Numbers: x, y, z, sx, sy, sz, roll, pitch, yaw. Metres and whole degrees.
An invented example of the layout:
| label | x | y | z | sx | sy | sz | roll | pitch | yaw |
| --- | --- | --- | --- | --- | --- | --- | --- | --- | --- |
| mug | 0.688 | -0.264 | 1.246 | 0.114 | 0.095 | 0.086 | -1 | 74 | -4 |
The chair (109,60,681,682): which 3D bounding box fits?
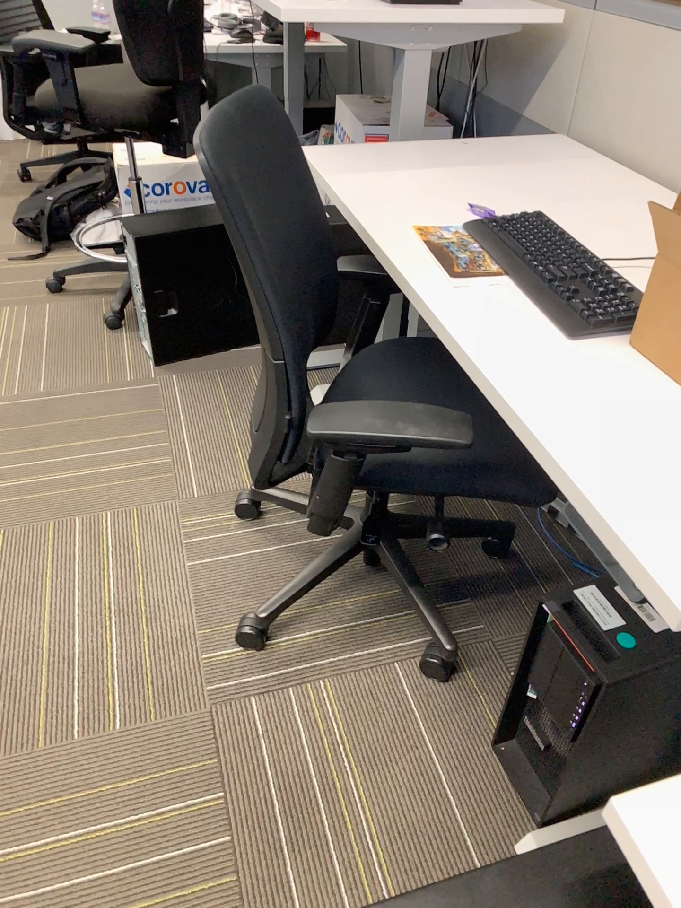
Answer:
| label | x | y | z | sx | sy | sz | roll | pitch | yaw |
| --- | --- | --- | --- | --- | --- | --- | --- | --- | --- |
| chair | 0.090 | -0.151 | 1.334 | 0.750 | 0.934 | 0.704 | 0 | 39 | -4 |
